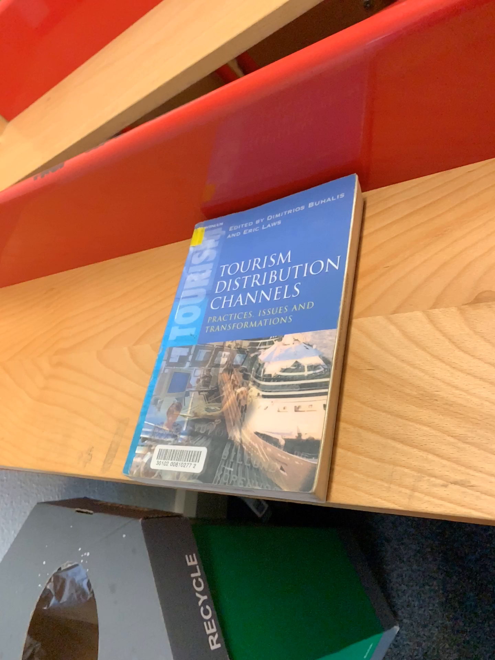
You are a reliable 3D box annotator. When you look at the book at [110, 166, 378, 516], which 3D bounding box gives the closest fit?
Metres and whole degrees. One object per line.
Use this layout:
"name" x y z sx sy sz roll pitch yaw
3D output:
"book" 0.000 0.001 0.380 0.168 0.030 0.239 -6 60 35
